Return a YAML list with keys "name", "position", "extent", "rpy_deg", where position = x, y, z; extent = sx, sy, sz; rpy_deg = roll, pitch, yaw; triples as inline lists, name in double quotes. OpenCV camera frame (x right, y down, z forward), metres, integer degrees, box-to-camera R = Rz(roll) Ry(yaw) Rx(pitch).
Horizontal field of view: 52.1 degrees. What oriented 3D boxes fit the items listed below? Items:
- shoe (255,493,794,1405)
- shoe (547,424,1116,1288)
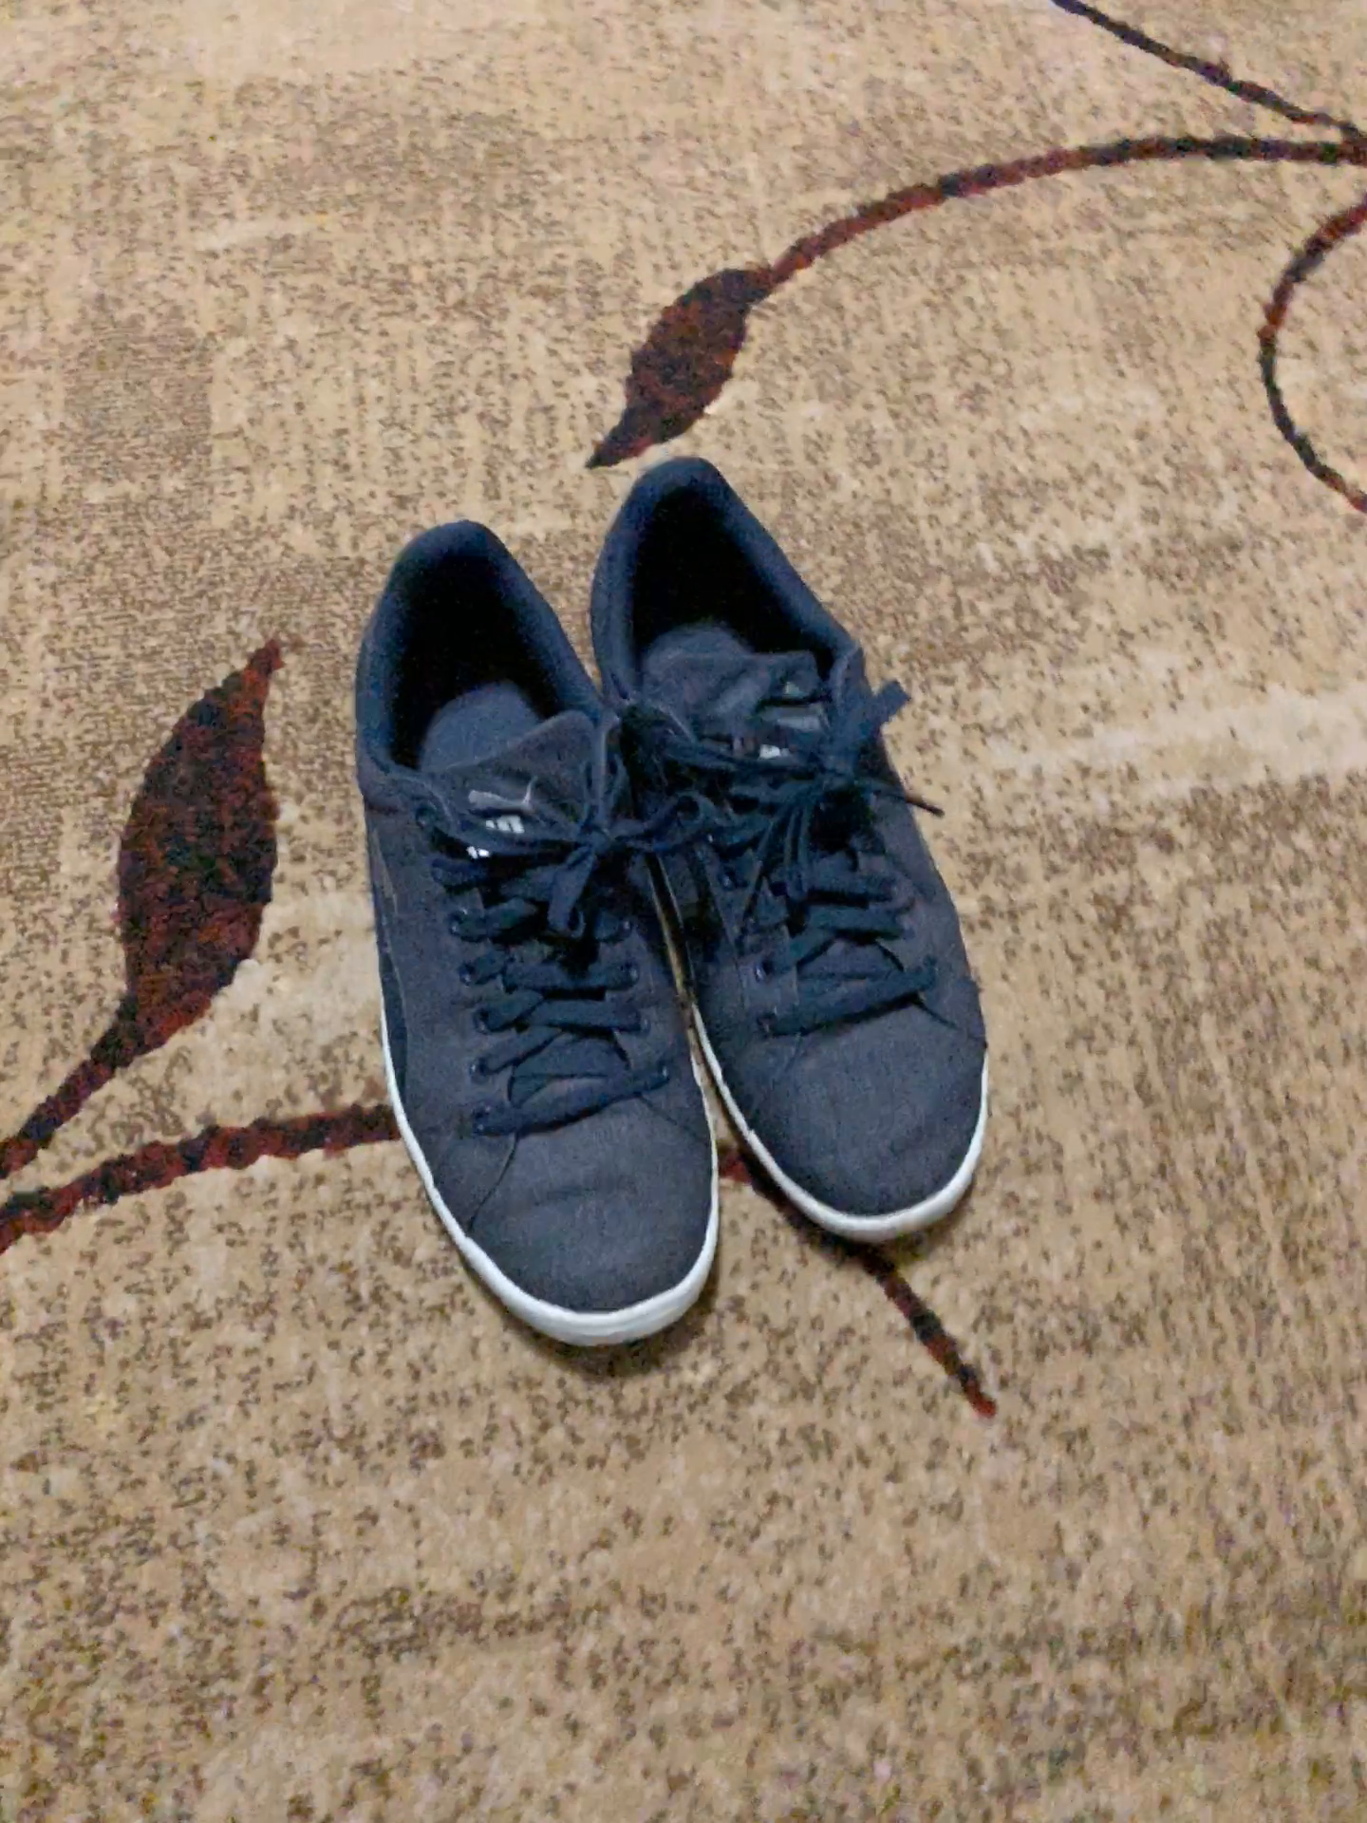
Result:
- name: "shoe"
  position: [-0.058, 0.009, 0.469]
  extent: [0.106, 0.090, 0.275]
  rpy_deg: [-13, 70, -8]
- name: "shoe"
  position: [0.038, -0.028, 0.466]
  extent: [0.099, 0.050, 0.275]
  rpy_deg: [-14, 70, -9]
